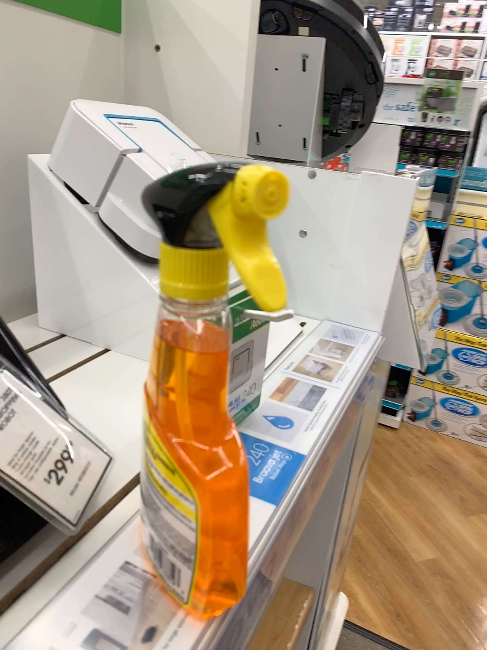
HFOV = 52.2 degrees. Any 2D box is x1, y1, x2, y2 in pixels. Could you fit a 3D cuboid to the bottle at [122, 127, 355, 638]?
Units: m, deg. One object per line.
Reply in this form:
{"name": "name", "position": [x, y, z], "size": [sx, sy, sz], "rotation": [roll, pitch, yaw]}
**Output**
{"name": "bottle", "position": [-0.018, 0.026, 0.253], "size": [0.050, 0.226, 0.100], "rotation": [-9, 26, -34]}
